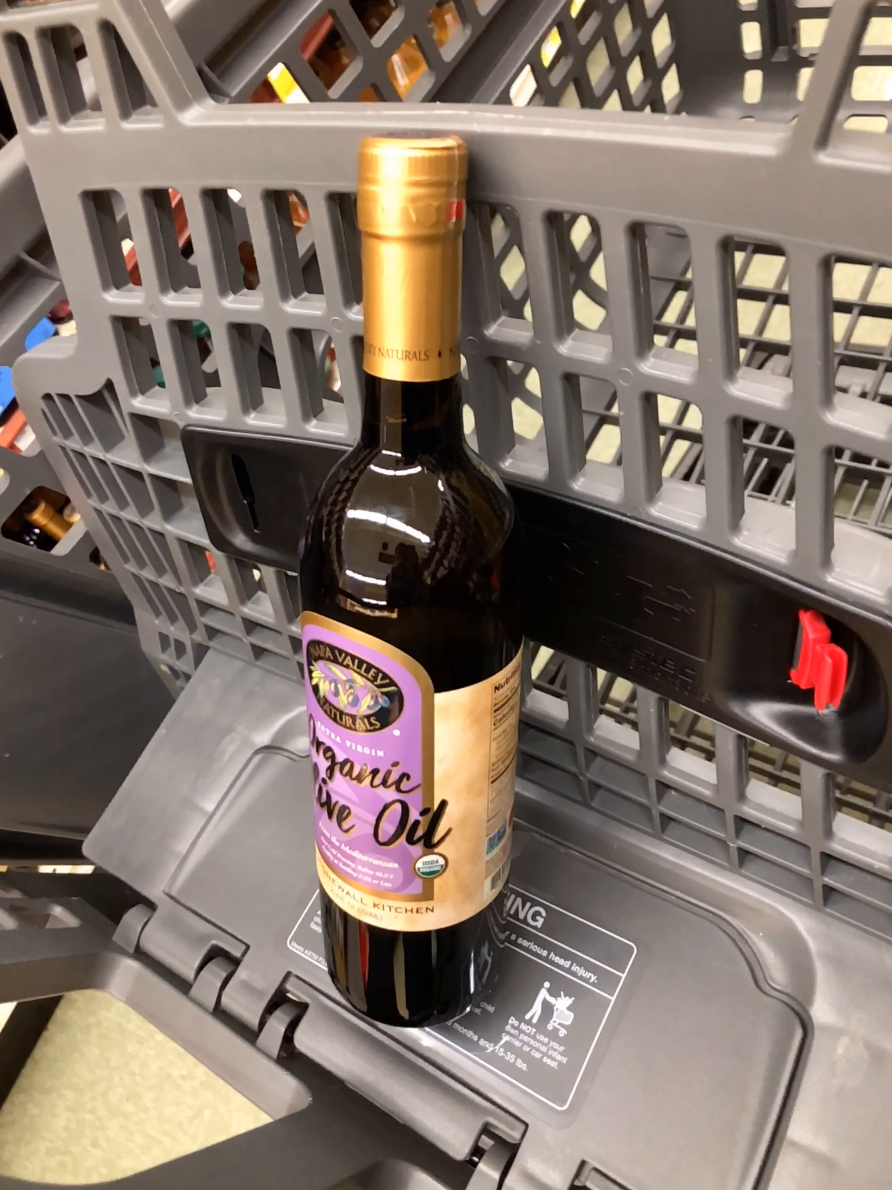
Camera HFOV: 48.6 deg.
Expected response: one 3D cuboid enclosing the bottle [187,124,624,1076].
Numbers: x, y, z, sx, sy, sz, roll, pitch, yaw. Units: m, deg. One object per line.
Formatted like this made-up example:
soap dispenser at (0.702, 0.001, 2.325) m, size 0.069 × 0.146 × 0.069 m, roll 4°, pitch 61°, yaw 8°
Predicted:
bottle at (-0.012, 0.013, 0.328) m, size 0.080 × 0.300 × 0.080 m, roll 1°, pitch 29°, yaw -1°
